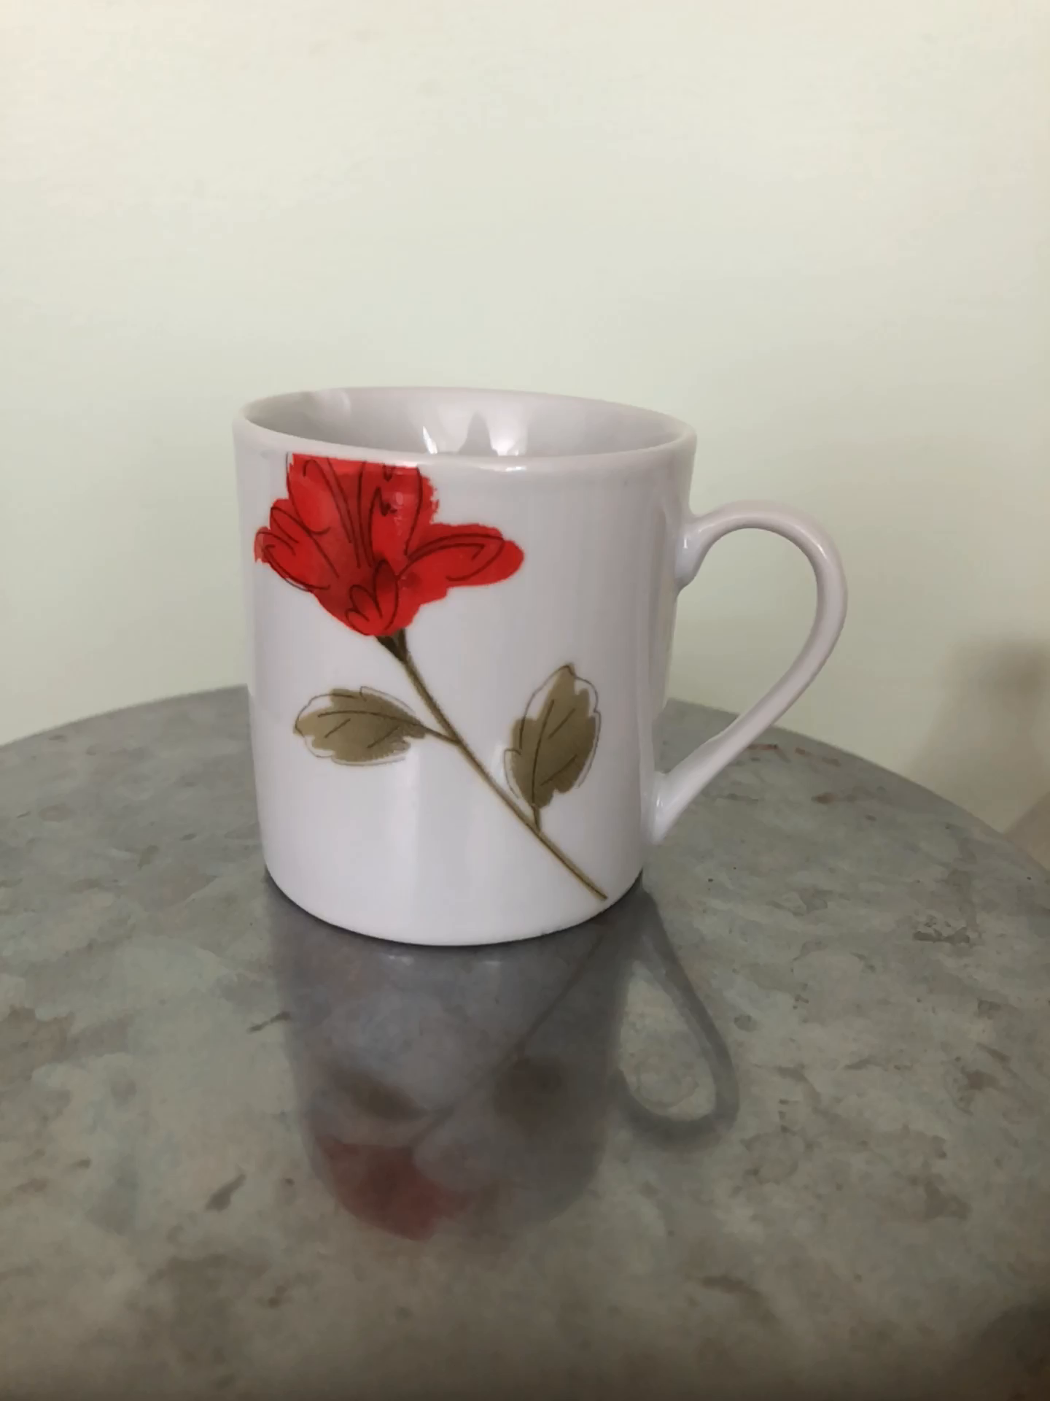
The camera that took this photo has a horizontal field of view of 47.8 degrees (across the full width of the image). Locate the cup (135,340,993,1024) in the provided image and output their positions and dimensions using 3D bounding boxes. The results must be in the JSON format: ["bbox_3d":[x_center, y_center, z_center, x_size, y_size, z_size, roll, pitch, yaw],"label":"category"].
[{"bbox_3d":[0.005,-0.009,0.148,0.080,0.060,0.060,6,22,7],"label":"cup"}]
